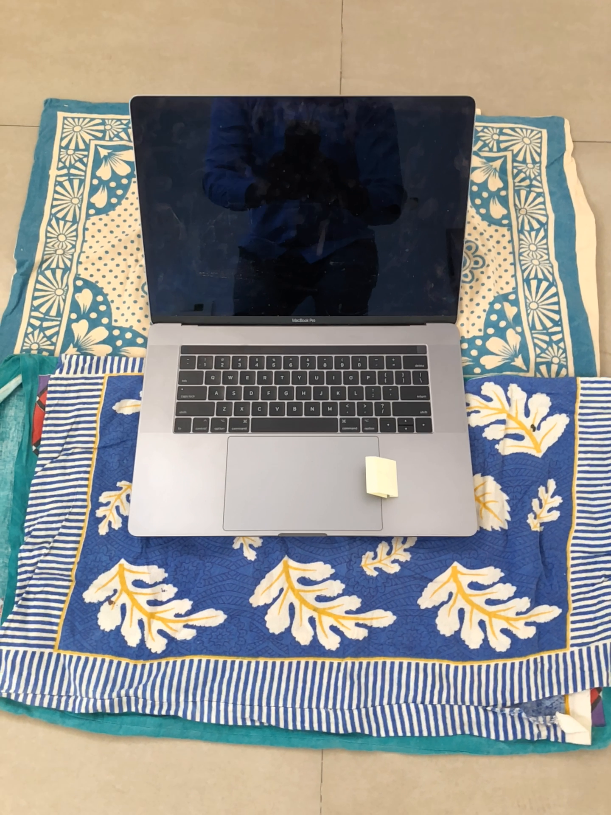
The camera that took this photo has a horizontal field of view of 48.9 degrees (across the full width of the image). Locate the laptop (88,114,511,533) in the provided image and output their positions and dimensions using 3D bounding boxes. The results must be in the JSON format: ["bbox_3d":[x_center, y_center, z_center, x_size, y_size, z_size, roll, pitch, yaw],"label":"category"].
[{"bbox_3d":[-0.004,-0.086,0.668,0.336,0.132,0.402,0,70,0],"label":"laptop"}]
